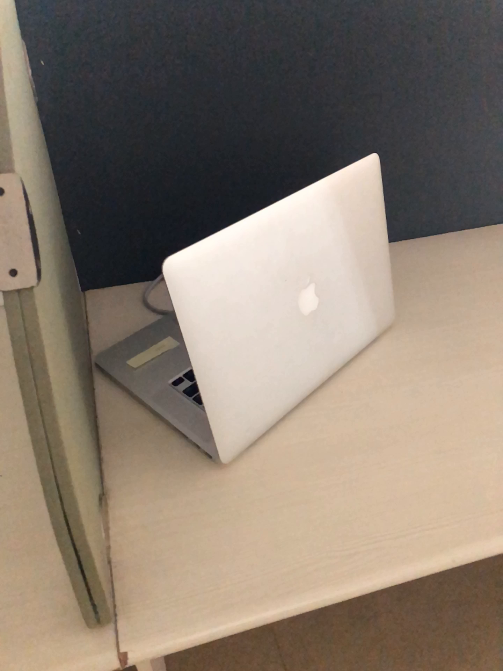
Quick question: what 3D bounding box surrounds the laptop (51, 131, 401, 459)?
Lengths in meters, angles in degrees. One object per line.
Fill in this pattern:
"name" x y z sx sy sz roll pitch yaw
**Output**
"laptop" -0.019 -0.077 0.704 0.244 0.232 0.322 29 48 33
